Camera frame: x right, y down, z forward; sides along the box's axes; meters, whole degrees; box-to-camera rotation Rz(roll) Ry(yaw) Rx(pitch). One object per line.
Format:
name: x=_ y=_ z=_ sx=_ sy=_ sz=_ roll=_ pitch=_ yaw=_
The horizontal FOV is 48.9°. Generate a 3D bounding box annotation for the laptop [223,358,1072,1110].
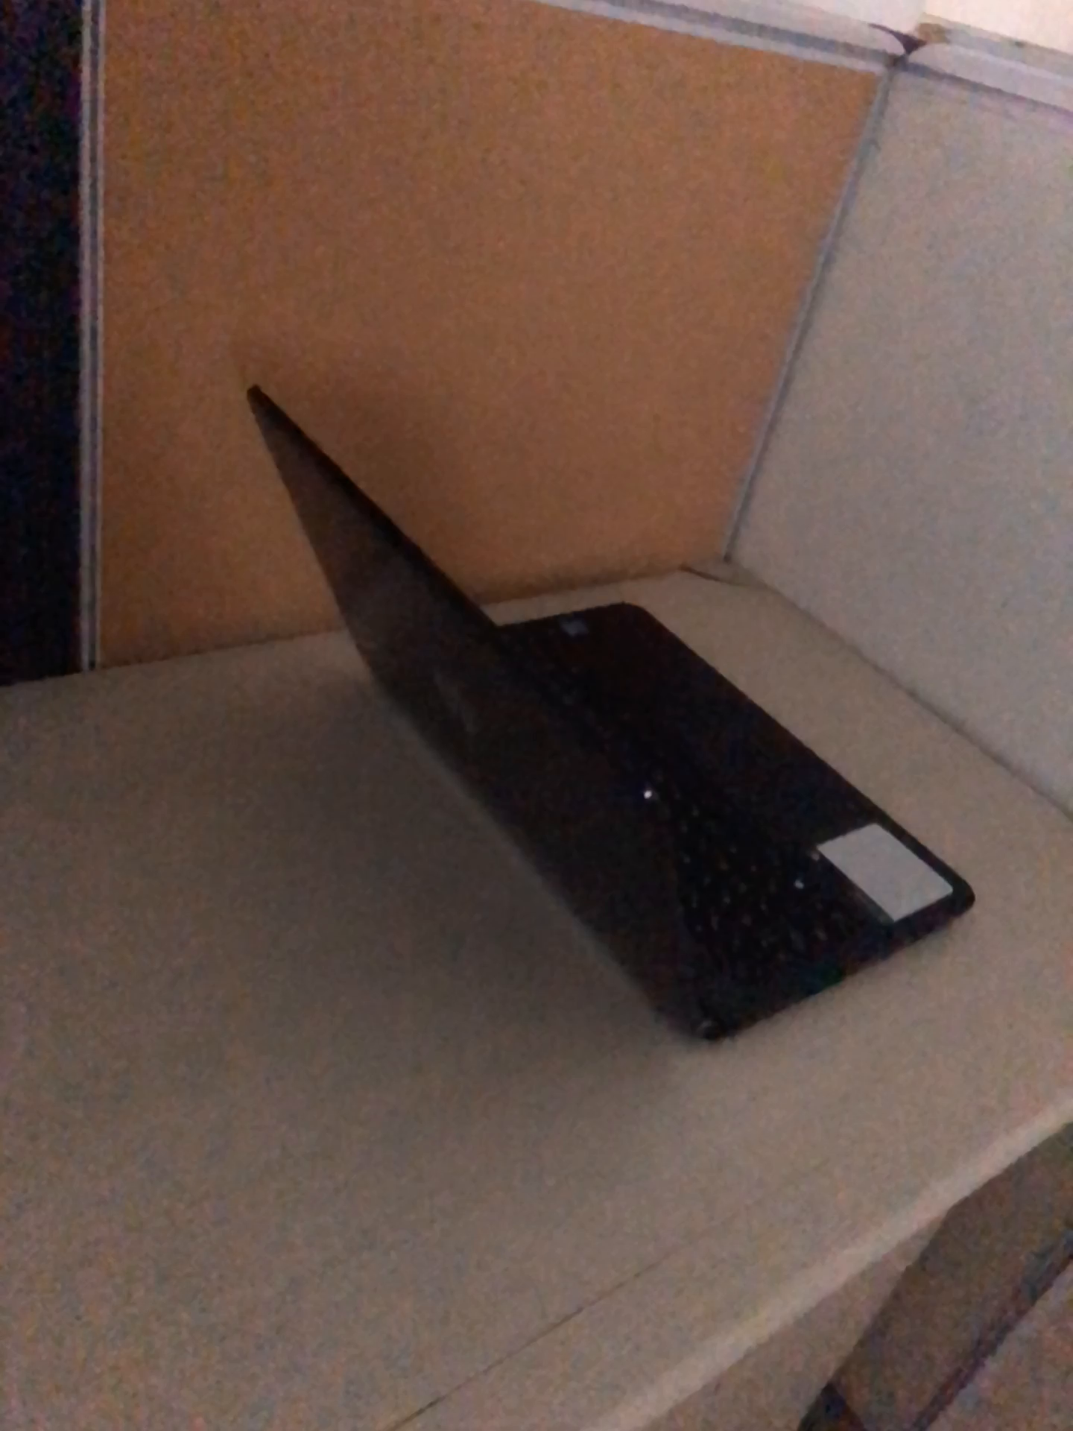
laptop: x=0.057 y=-0.036 z=0.713 sx=0.352 sy=0.205 sz=0.357 roll=-15 pitch=44 yaw=-35
